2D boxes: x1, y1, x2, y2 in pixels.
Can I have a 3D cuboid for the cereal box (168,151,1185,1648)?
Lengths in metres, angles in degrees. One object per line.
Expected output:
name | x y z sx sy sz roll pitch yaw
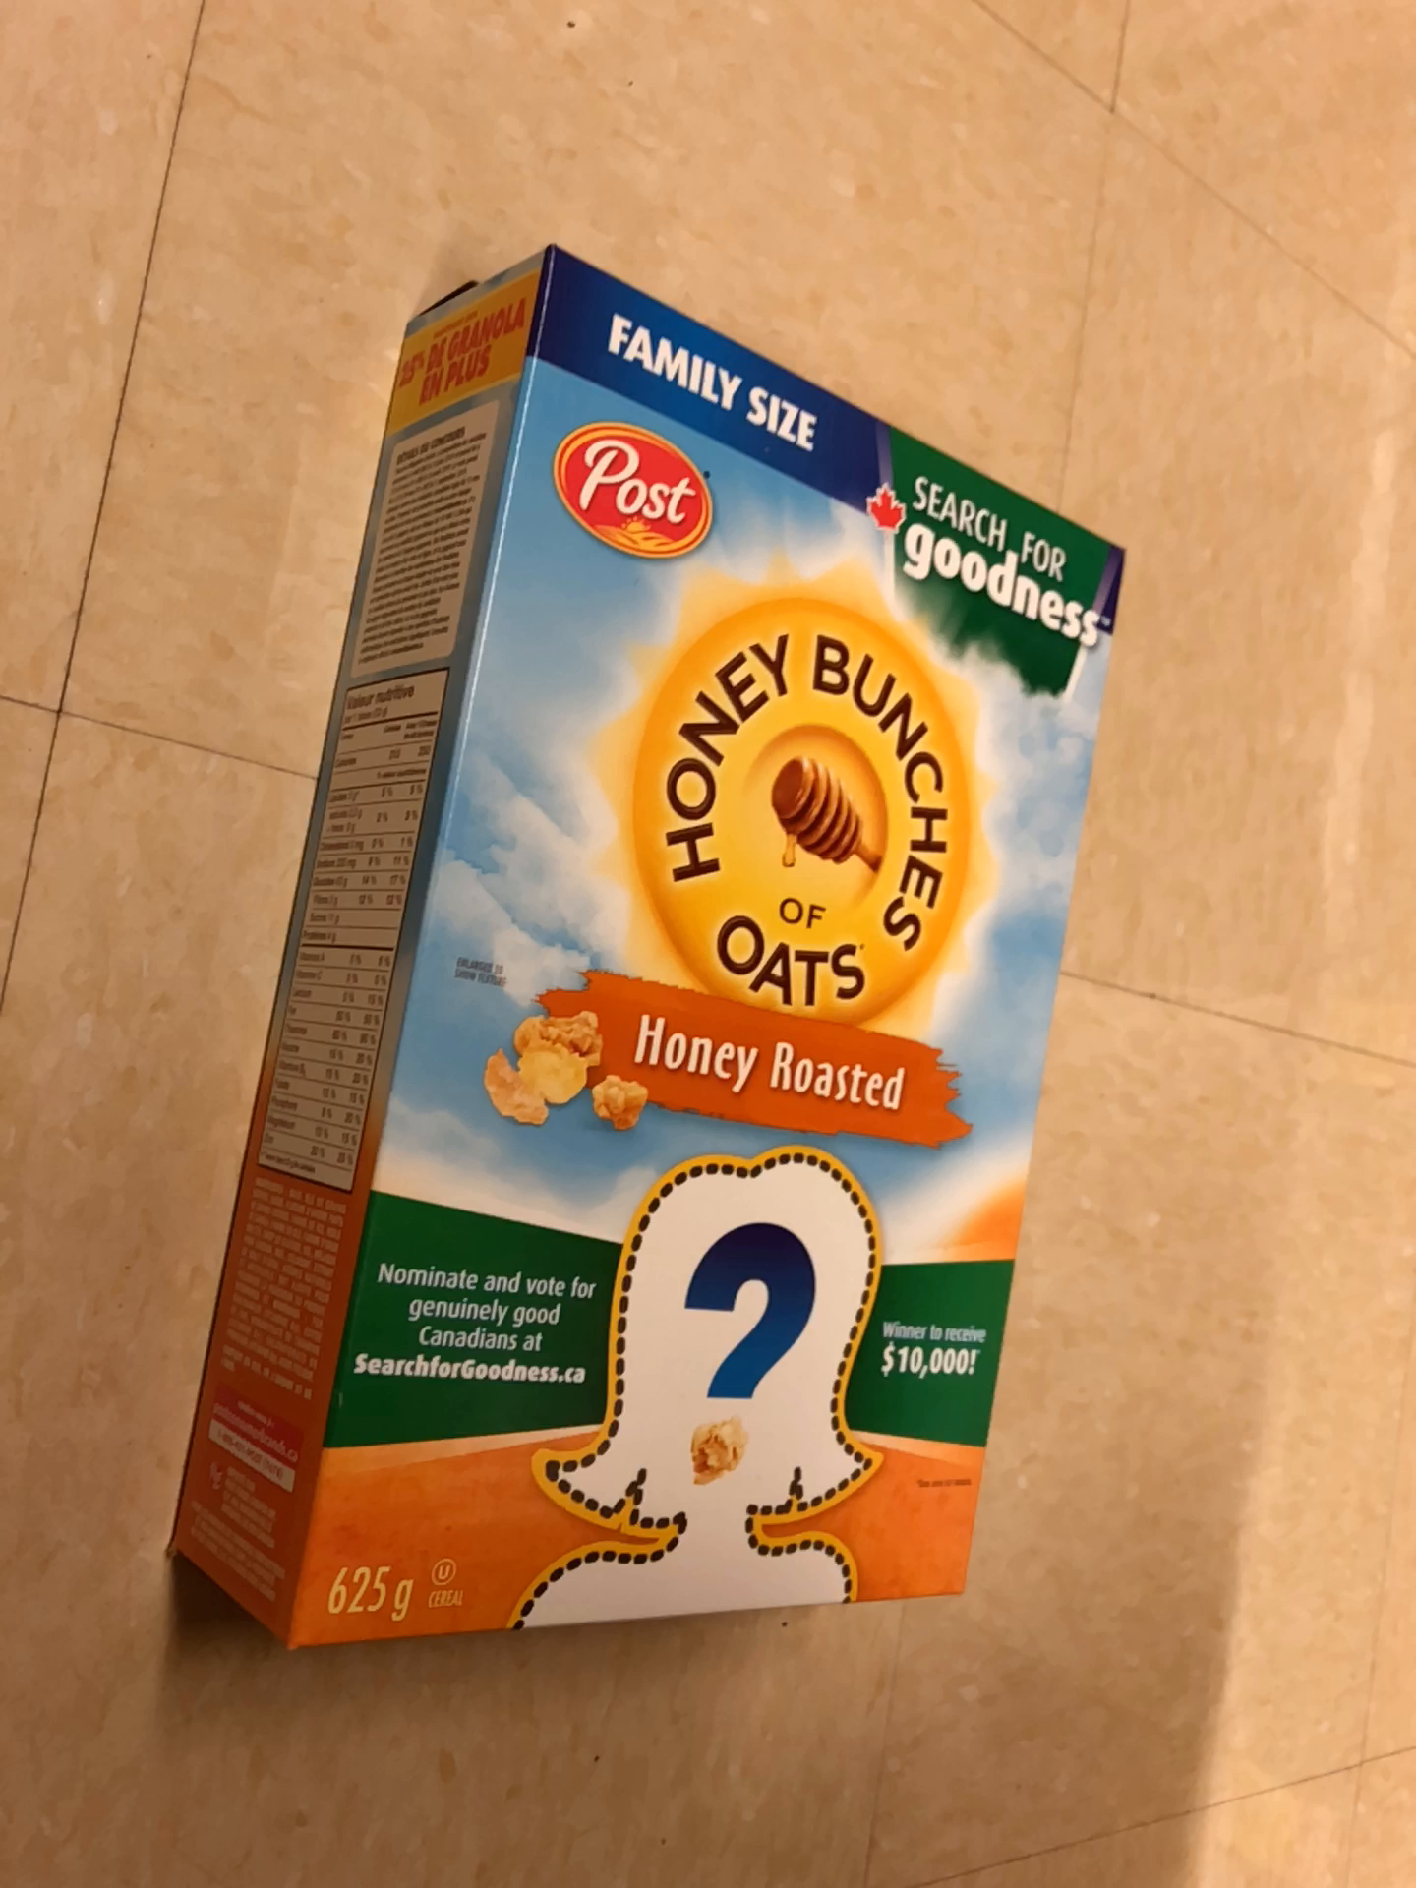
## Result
cereal box | 0.012 0.004 0.385 0.211 0.070 0.290 16 78 -37
